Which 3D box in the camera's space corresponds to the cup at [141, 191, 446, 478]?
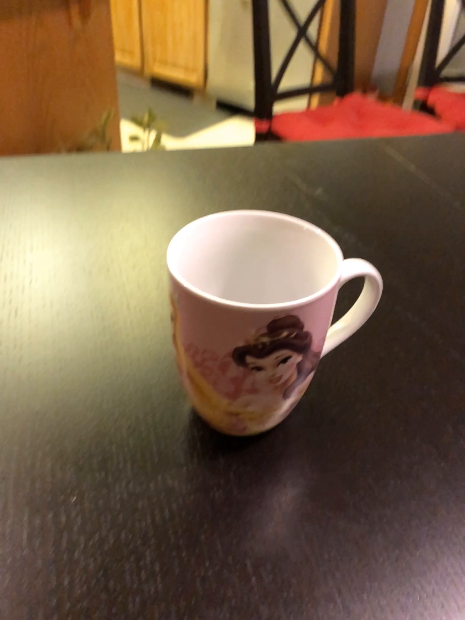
[{"bbox_3d":[0.022,0.008,0.282,0.120,0.099,0.091,-11,41,-18],"label":"cup"}]
